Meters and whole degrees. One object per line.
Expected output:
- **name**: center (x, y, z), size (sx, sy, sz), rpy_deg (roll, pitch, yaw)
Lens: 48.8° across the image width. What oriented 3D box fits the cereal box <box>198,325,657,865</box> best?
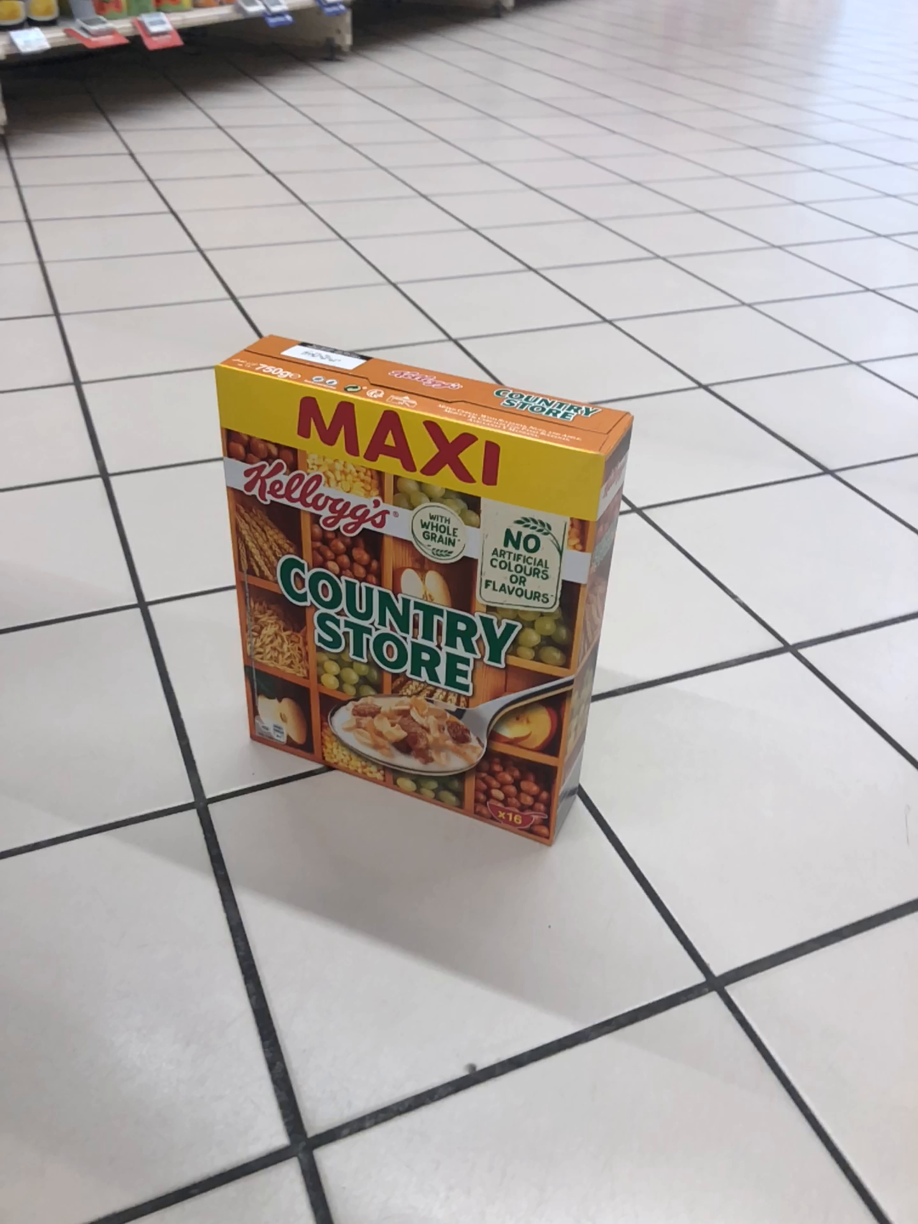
- **cereal box**: center (-0.021, -0.005, 0.523), size (0.200, 0.238, 0.060), rpy_deg (16, 37, 18)
